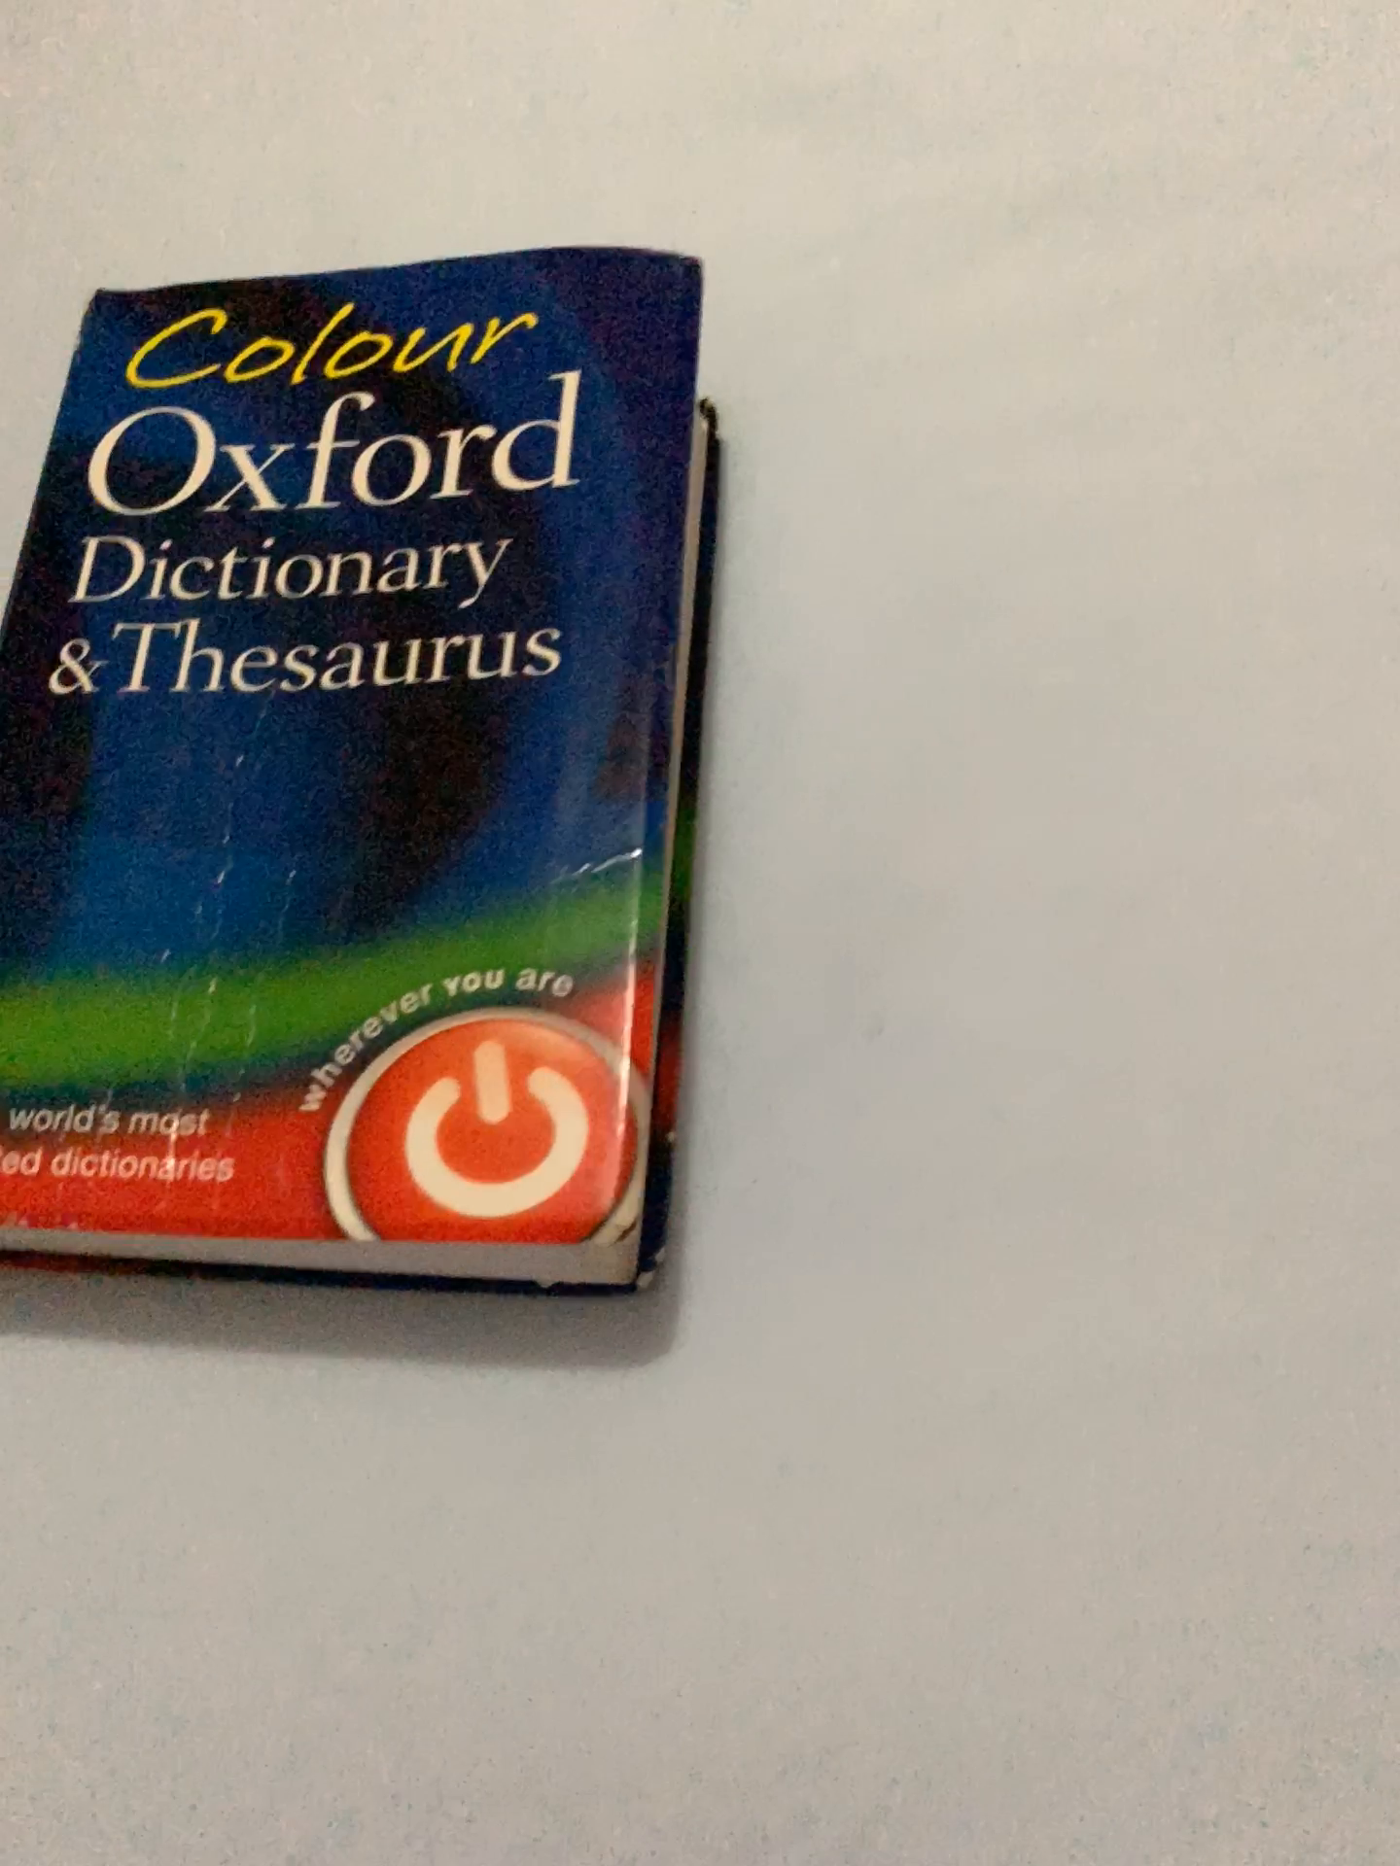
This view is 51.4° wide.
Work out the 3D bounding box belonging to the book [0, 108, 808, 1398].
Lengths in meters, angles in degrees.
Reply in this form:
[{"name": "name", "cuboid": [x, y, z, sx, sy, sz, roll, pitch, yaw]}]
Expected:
[{"name": "book", "cuboid": [-0.049, -0.029, 0.217, 0.120, 0.040, 0.181, -2, 69, 14]}]
